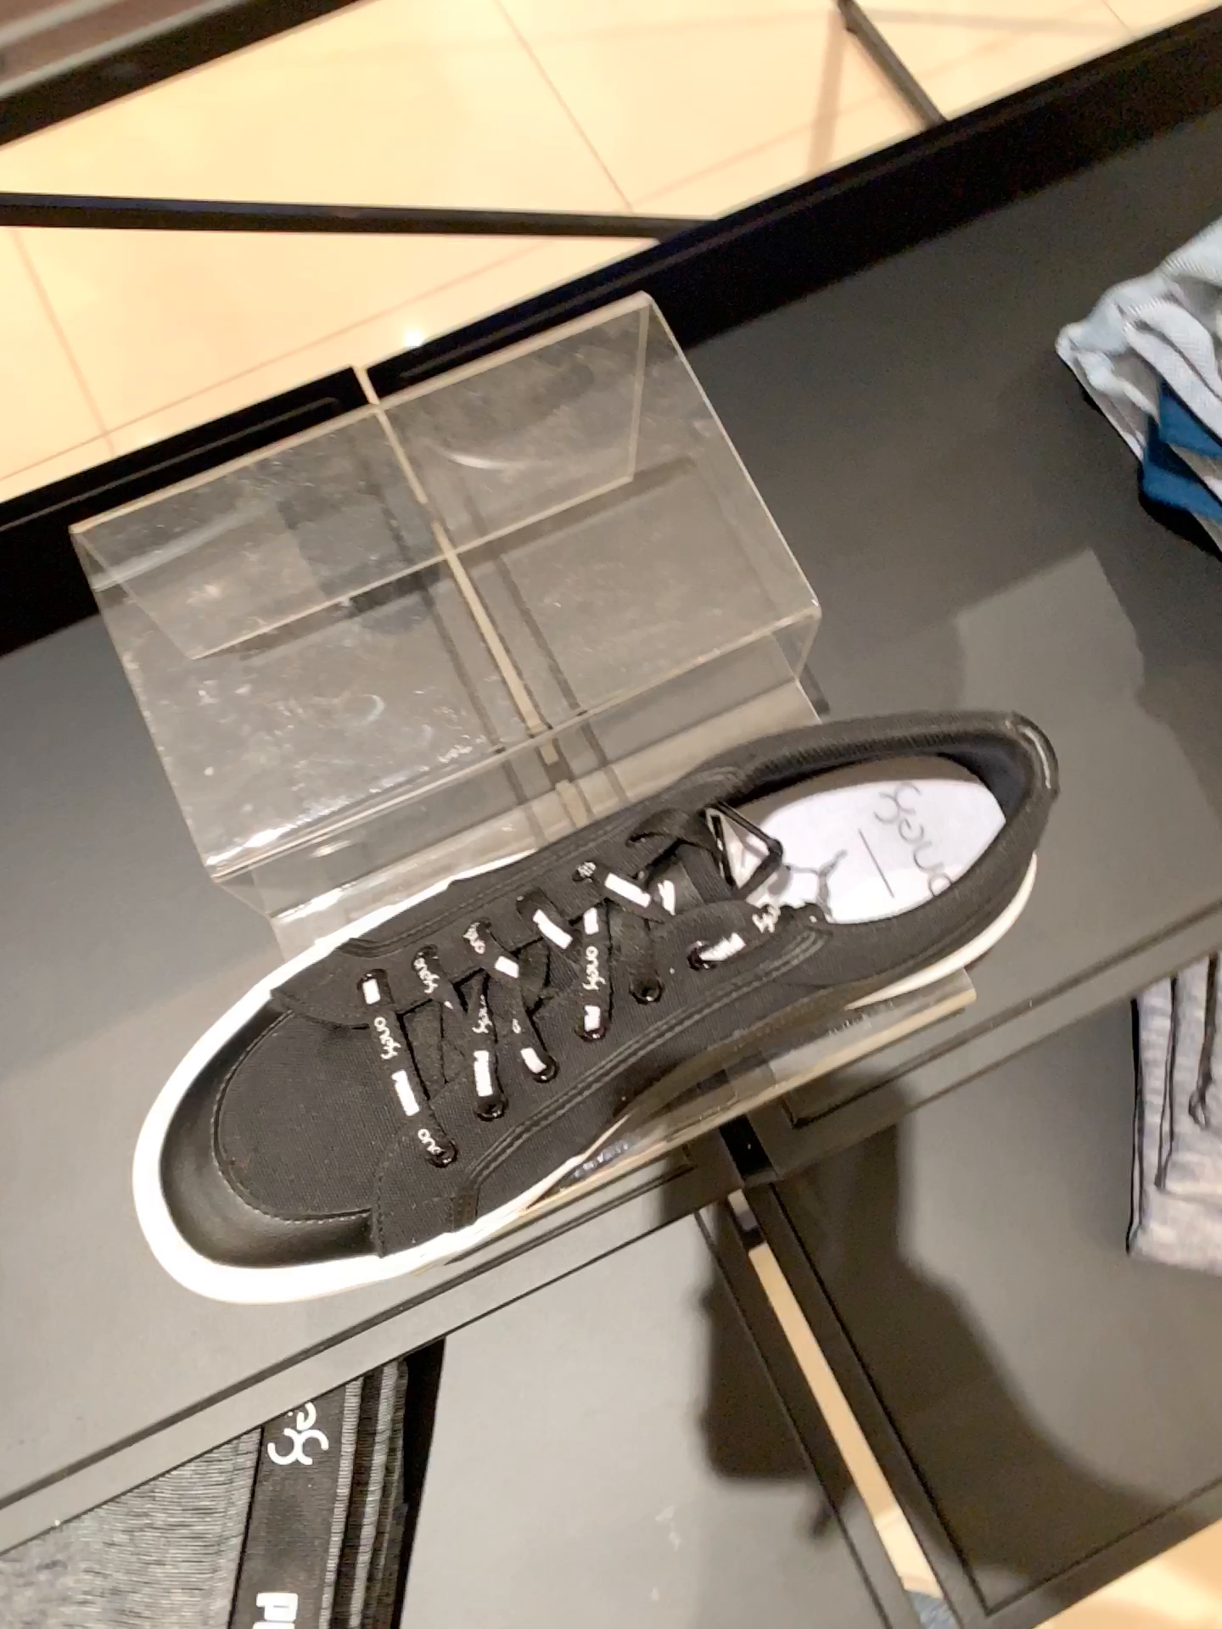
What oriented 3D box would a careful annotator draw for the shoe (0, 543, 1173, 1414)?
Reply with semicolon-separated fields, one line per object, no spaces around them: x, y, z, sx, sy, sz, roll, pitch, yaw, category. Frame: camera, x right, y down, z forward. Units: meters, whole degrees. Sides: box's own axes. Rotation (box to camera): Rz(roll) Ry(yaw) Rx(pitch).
-0.009;0.045;0.361;0.280;0.100;0.110;-24;73;-6;shoe
